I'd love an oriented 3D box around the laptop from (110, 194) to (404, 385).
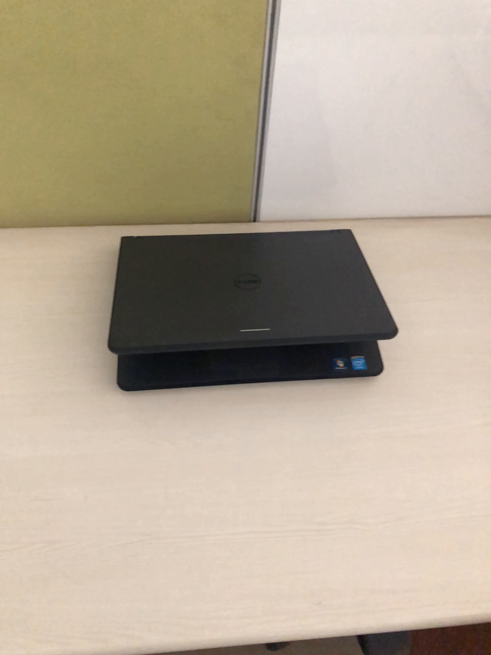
[{"bbox_3d":[0.004,-0.056,0.682,0.322,0.072,0.230,-3,56,-5],"label":"laptop"}]
